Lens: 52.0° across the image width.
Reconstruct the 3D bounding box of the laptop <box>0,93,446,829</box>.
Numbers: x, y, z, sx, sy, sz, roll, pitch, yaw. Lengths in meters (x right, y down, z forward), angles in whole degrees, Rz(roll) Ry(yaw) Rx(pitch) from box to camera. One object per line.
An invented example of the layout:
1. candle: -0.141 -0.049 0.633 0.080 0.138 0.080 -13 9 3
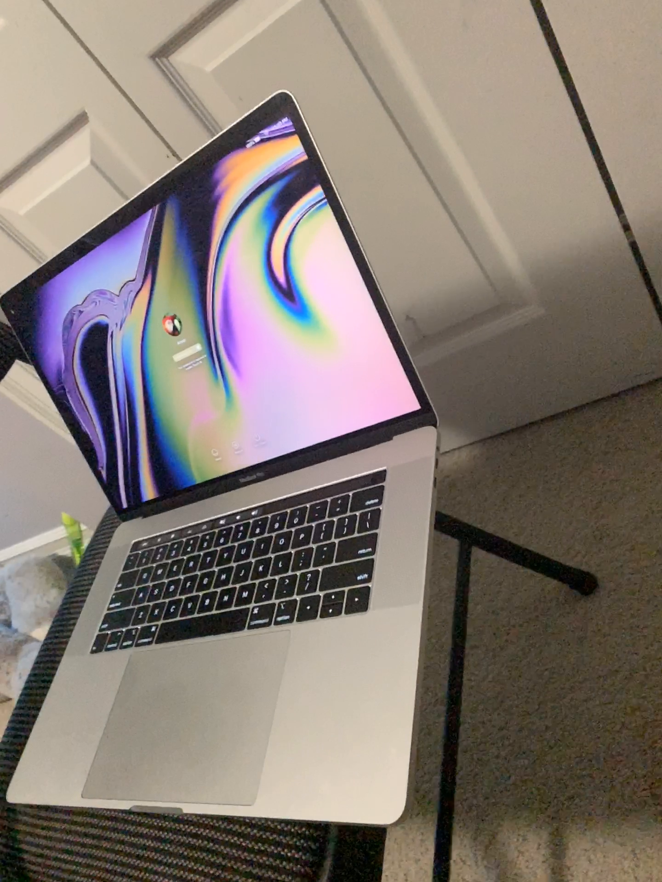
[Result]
1. laptop: -0.131 0.026 0.452 0.342 0.194 0.353 -18 43 33
